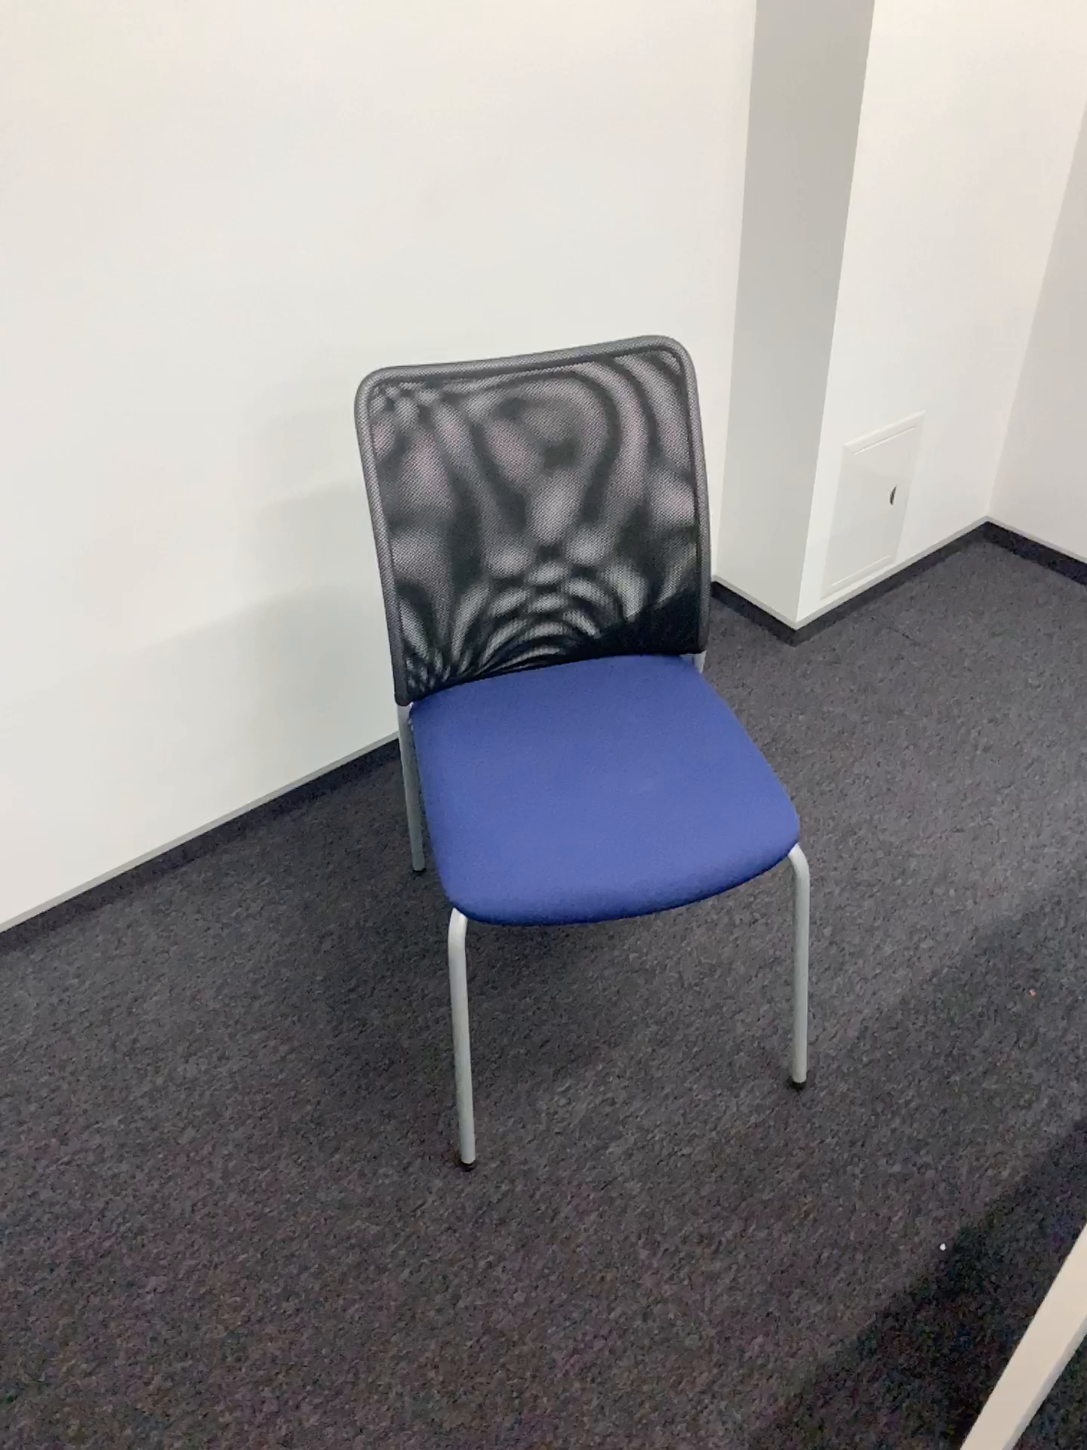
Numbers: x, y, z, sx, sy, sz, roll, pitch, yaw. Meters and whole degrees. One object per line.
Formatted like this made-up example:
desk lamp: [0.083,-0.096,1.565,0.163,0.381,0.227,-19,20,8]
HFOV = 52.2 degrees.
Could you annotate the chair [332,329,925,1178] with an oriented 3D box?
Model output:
chair: [0.056,0.041,1.457,0.490,0.865,0.593,-9,39,-8]
